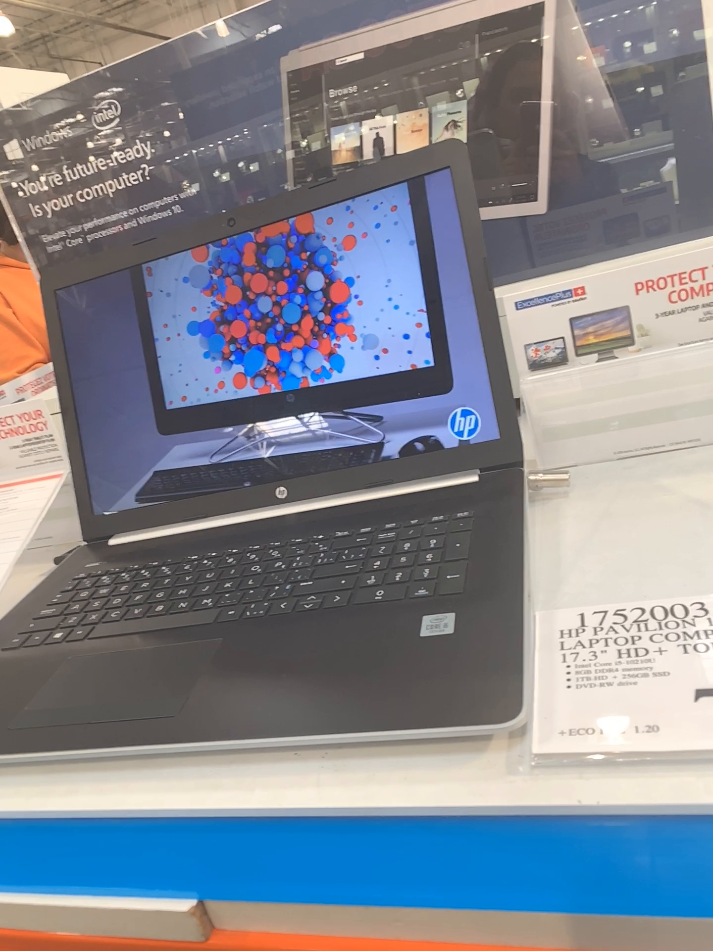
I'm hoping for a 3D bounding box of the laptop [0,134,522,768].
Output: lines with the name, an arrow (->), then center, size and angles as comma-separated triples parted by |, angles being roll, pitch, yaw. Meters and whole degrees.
laptop -> -0.112, -0.043, 0.495 | 0.395, 0.234, 0.371 | -11, 21, 18
